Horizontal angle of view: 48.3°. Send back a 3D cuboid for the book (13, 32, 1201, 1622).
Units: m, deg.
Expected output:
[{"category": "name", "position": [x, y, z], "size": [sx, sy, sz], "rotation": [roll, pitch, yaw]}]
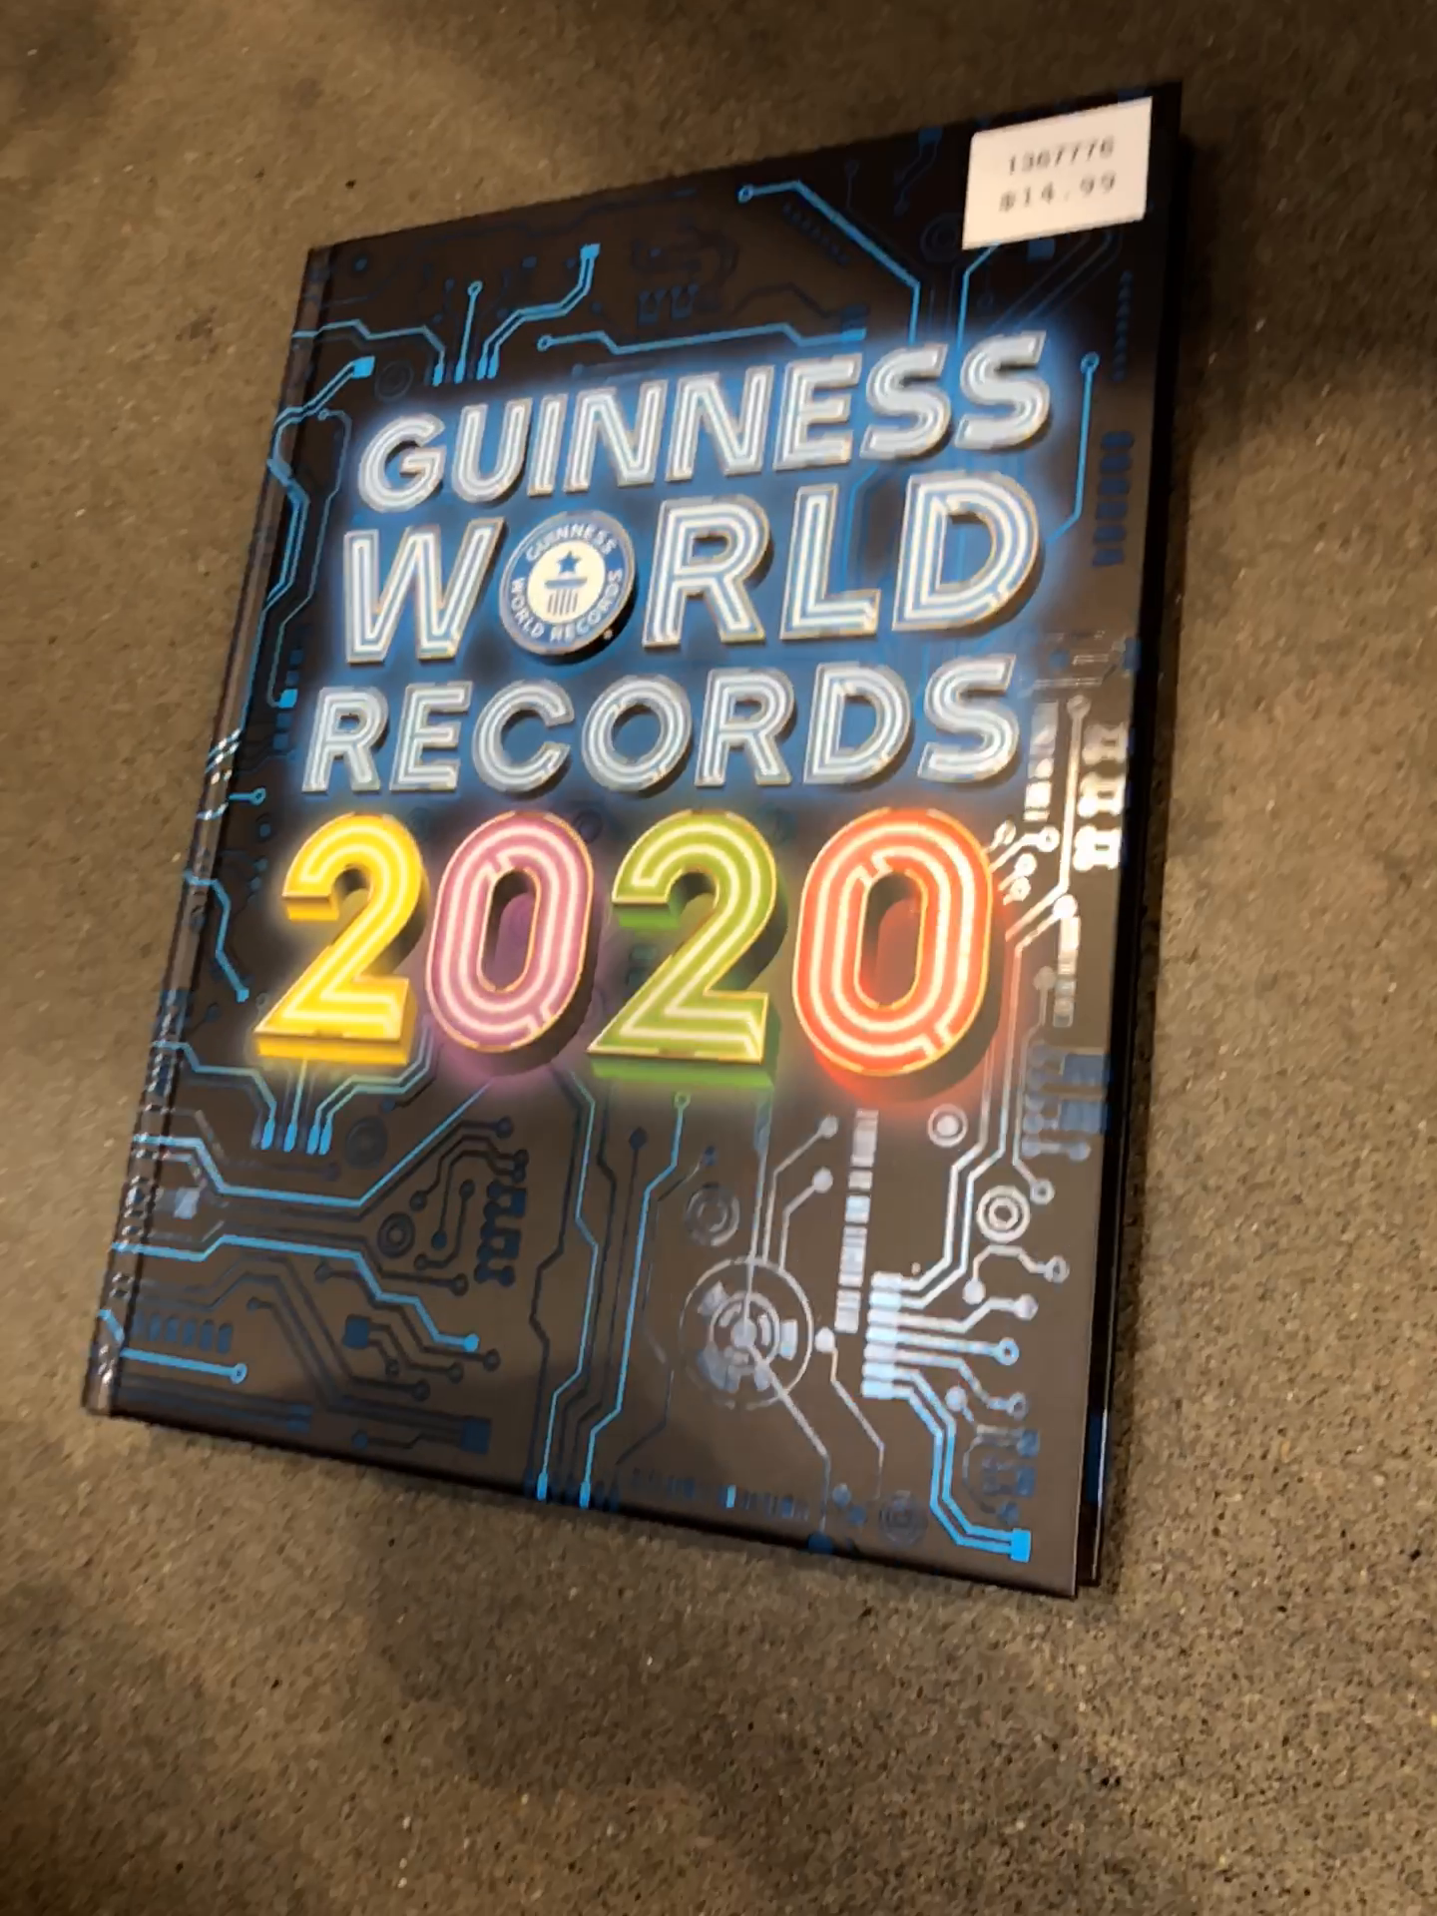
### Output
[{"category": "book", "position": [-0.026, -0.040, 0.362], "size": [0.240, 0.030, 0.312], "rotation": [2, 76, 24]}]
